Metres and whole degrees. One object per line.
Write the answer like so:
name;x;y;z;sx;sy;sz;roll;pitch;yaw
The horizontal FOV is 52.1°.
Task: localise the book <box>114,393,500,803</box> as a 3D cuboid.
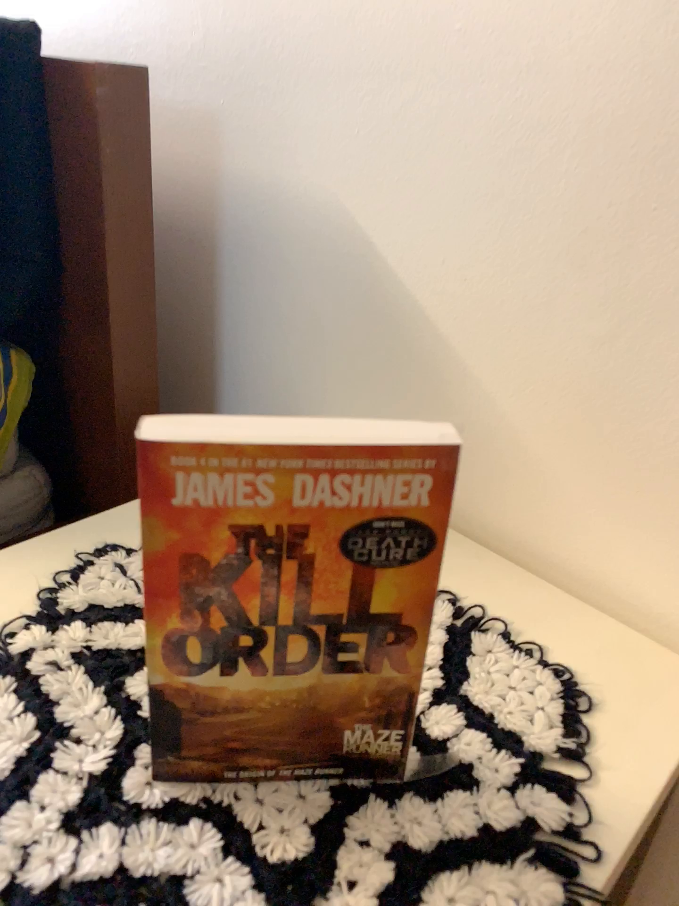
book;-0.022;0.082;0.346;0.160;0.218;0.030;2;25;-8
